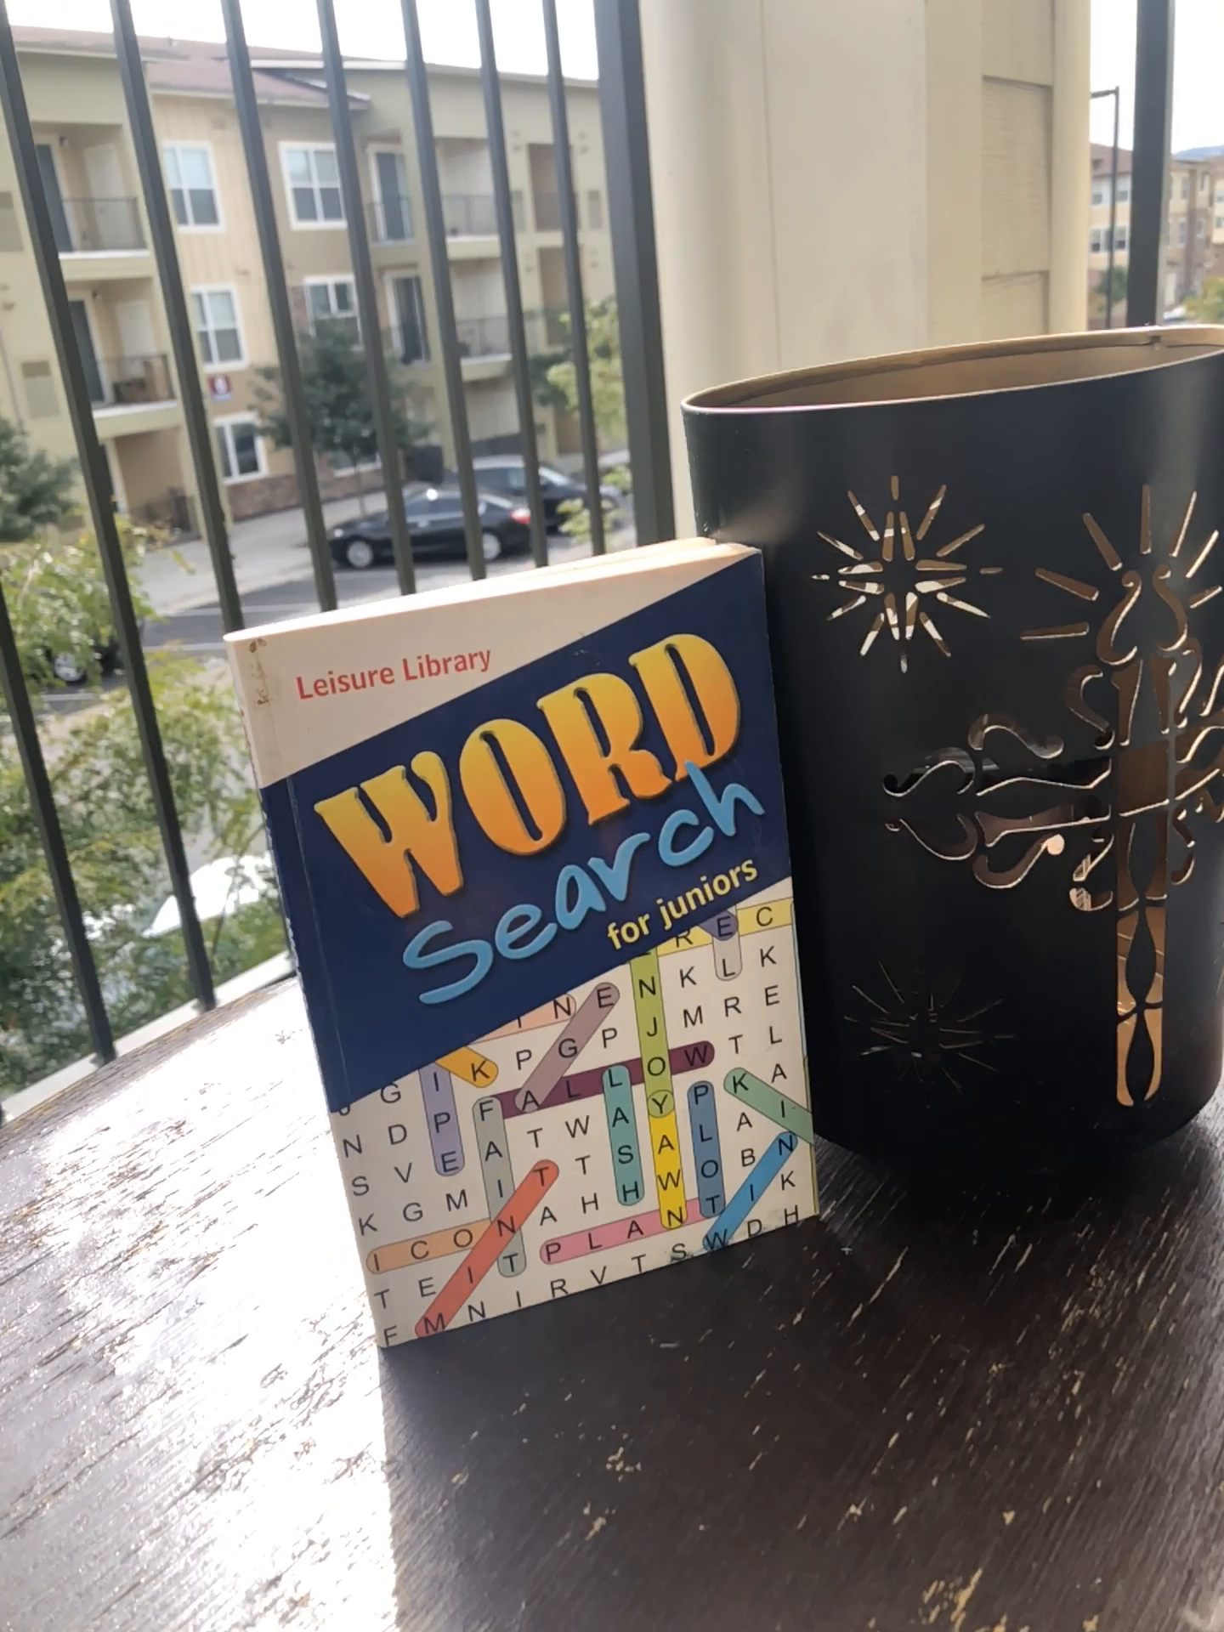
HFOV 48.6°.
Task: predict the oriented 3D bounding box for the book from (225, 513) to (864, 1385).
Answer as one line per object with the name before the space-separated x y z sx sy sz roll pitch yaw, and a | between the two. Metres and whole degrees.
book | -0.009 0.029 0.317 0.124 0.179 0.031 -12 18 -16
